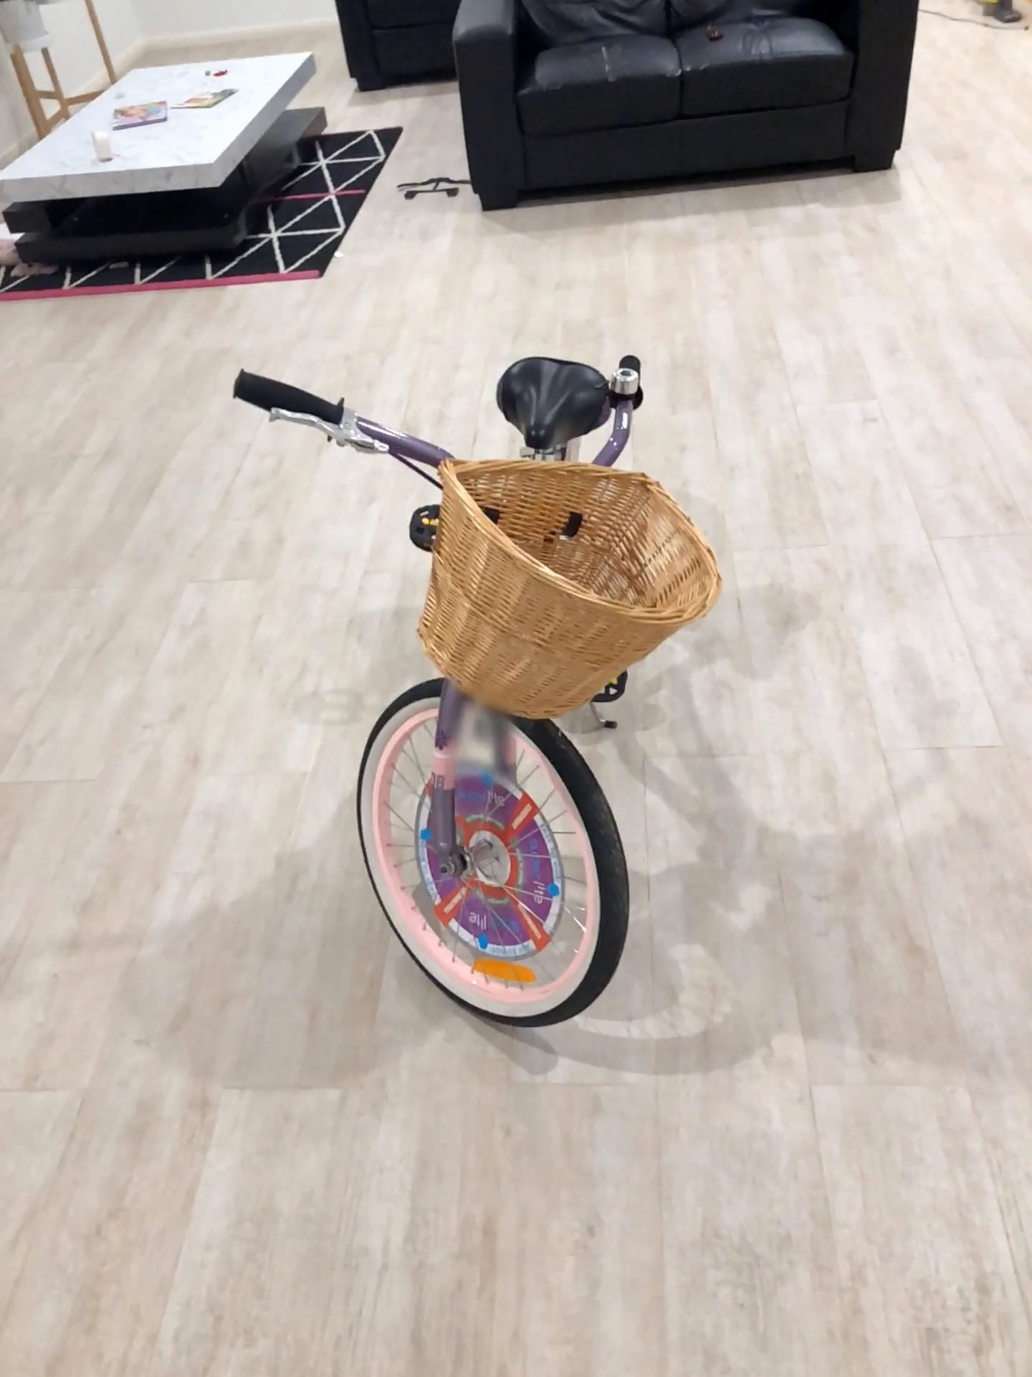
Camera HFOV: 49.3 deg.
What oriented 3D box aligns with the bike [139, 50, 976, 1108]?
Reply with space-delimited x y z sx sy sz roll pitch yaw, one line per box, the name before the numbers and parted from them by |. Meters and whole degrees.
bike | 0.074 -0.202 1.695 0.747 0.877 1.222 -4 46 5
